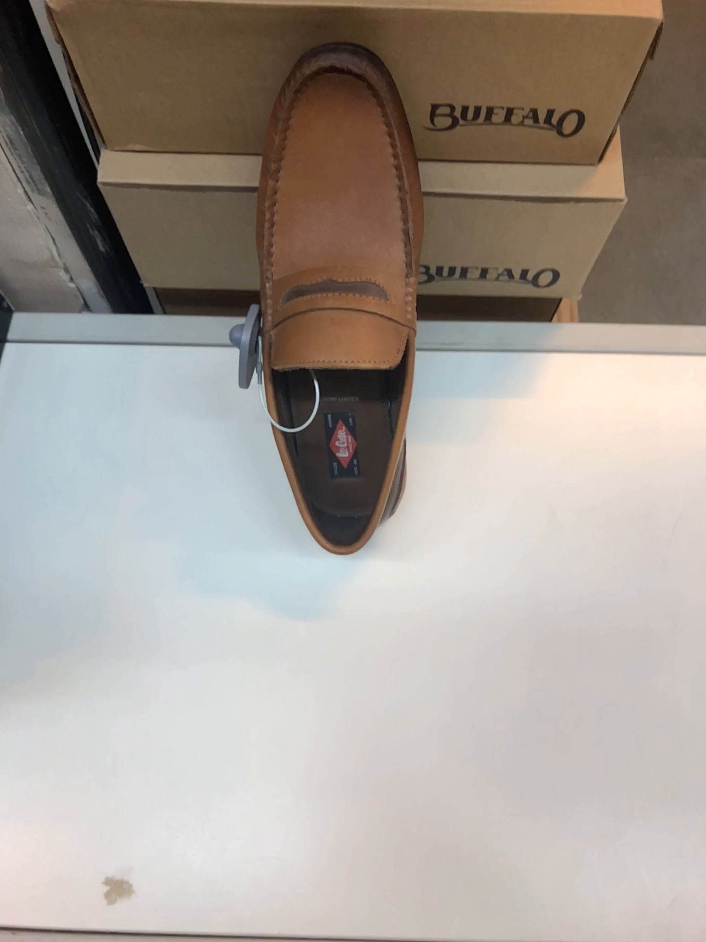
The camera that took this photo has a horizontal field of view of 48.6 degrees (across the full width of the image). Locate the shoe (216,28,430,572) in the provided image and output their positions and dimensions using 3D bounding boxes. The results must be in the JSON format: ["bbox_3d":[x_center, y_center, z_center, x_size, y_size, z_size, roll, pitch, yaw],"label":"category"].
[{"bbox_3d":[-0.010,-0.095,0.476,0.103,0.103,0.293,1,112,4],"label":"shoe"}]
